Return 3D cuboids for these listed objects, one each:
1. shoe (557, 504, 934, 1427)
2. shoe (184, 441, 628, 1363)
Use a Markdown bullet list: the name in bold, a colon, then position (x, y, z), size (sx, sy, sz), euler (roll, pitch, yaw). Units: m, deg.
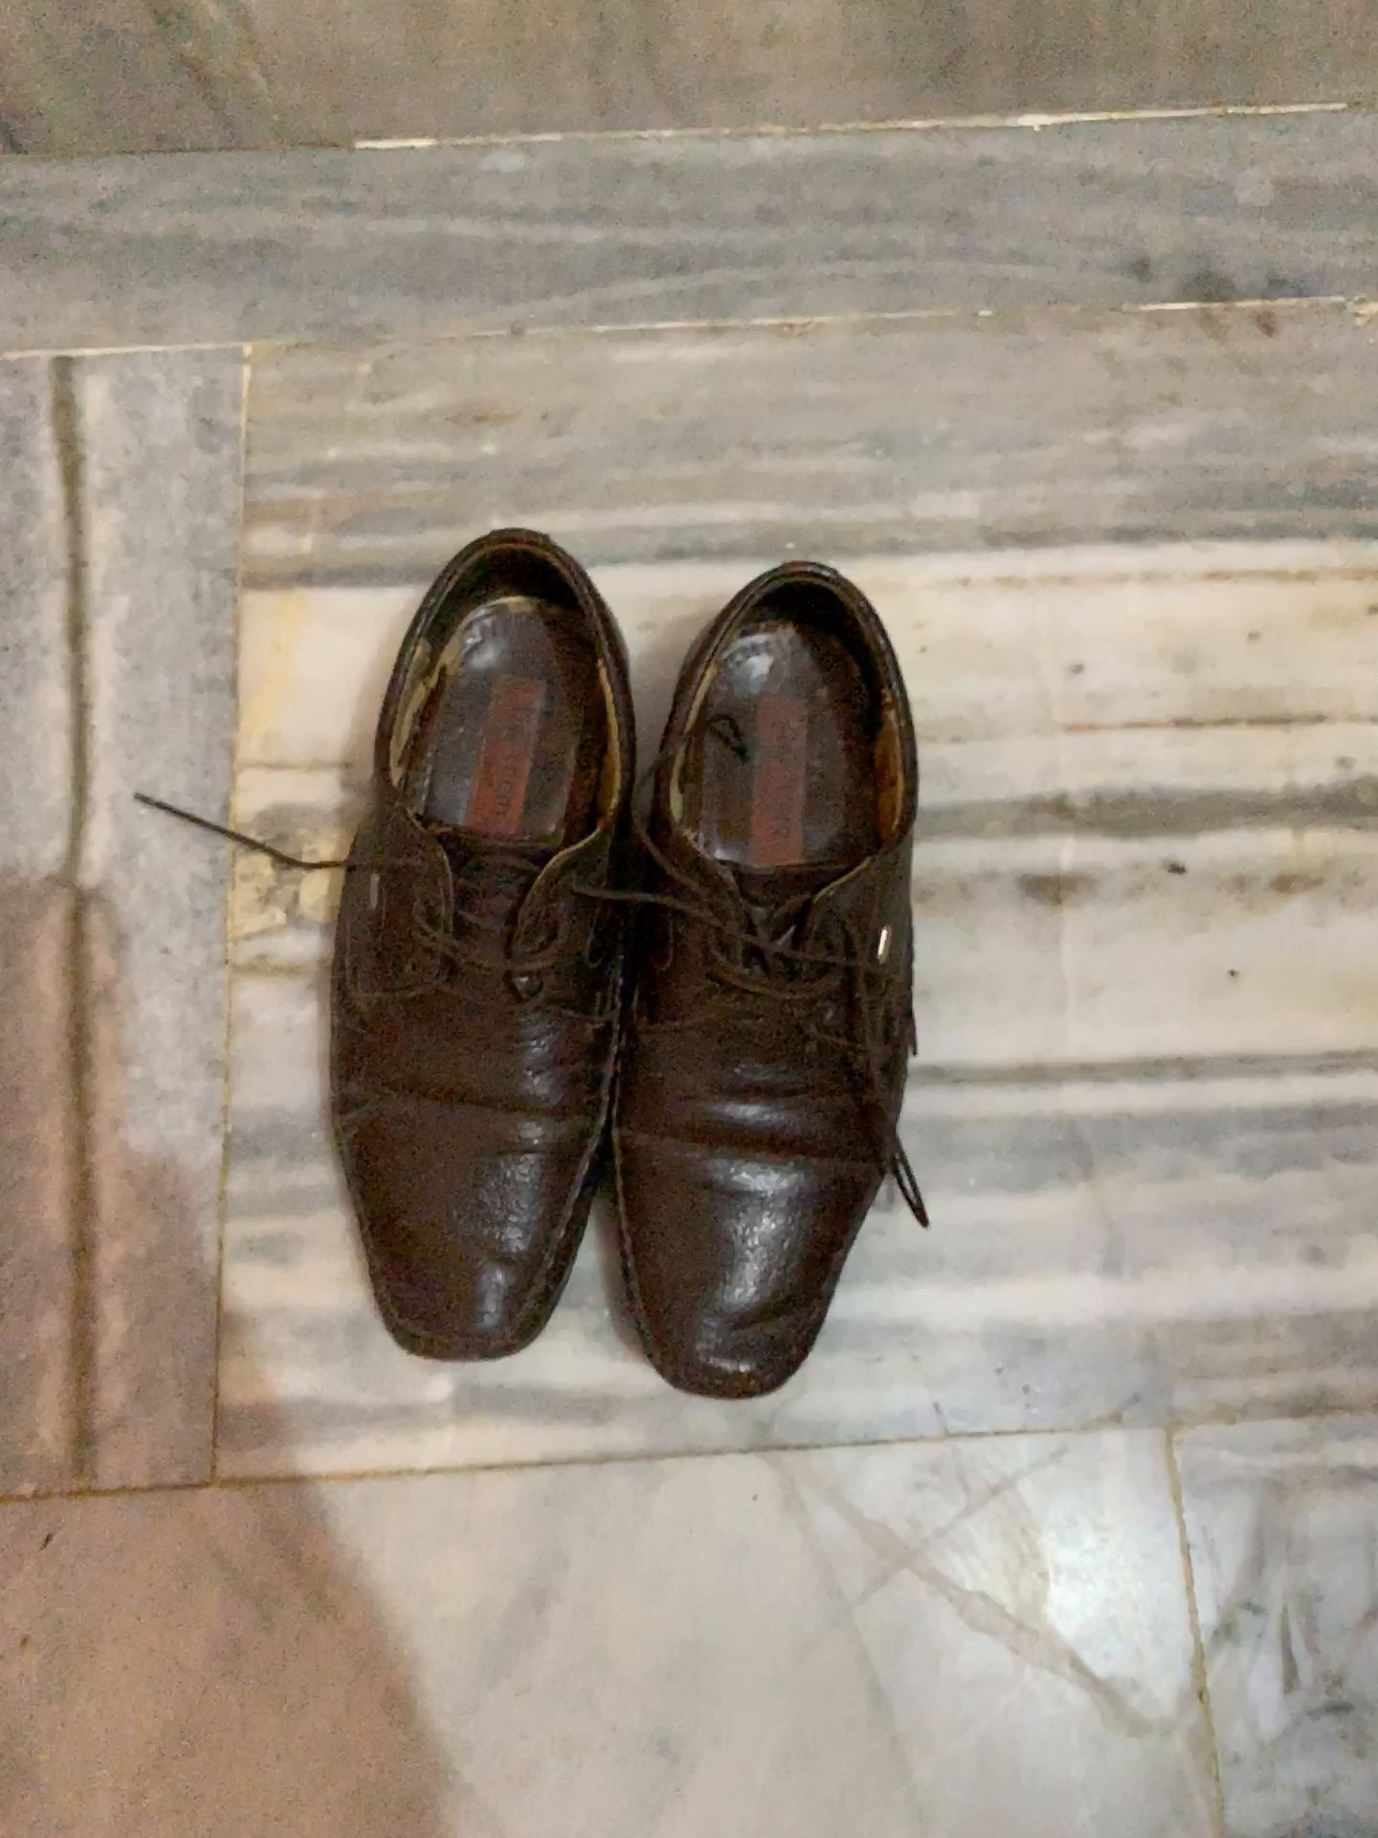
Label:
- **shoe**: position (0.021, 0.017, 0.489), size (0.100, 0.110, 0.282), euler (4, 75, 0)
- **shoe**: position (-0.082, -0.002, 0.484), size (0.100, 0.110, 0.282), euler (4, 75, 0)
